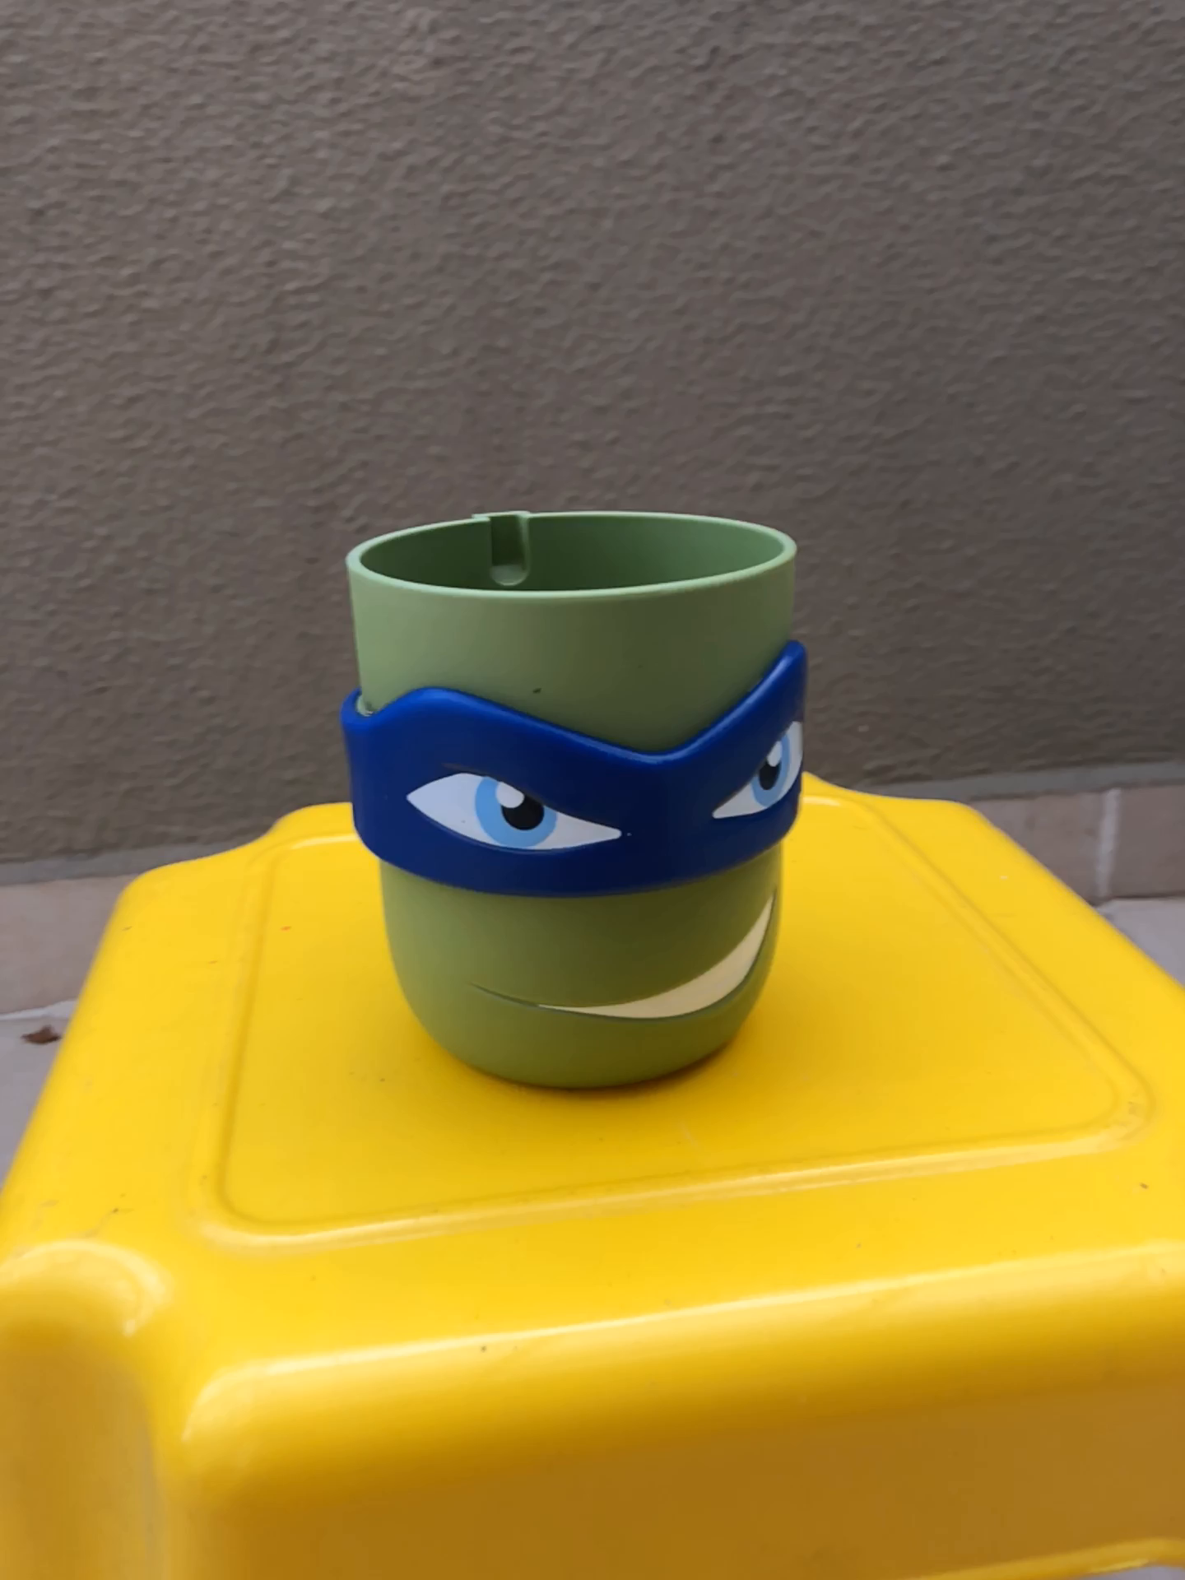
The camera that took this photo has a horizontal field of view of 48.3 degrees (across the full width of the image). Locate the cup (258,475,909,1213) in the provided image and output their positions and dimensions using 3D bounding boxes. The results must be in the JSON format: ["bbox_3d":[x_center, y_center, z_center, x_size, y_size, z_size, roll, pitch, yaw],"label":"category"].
[{"bbox_3d":[-0.009,-0.003,0.242,0.080,0.089,0.111,-9,21,-18],"label":"cup"}]
